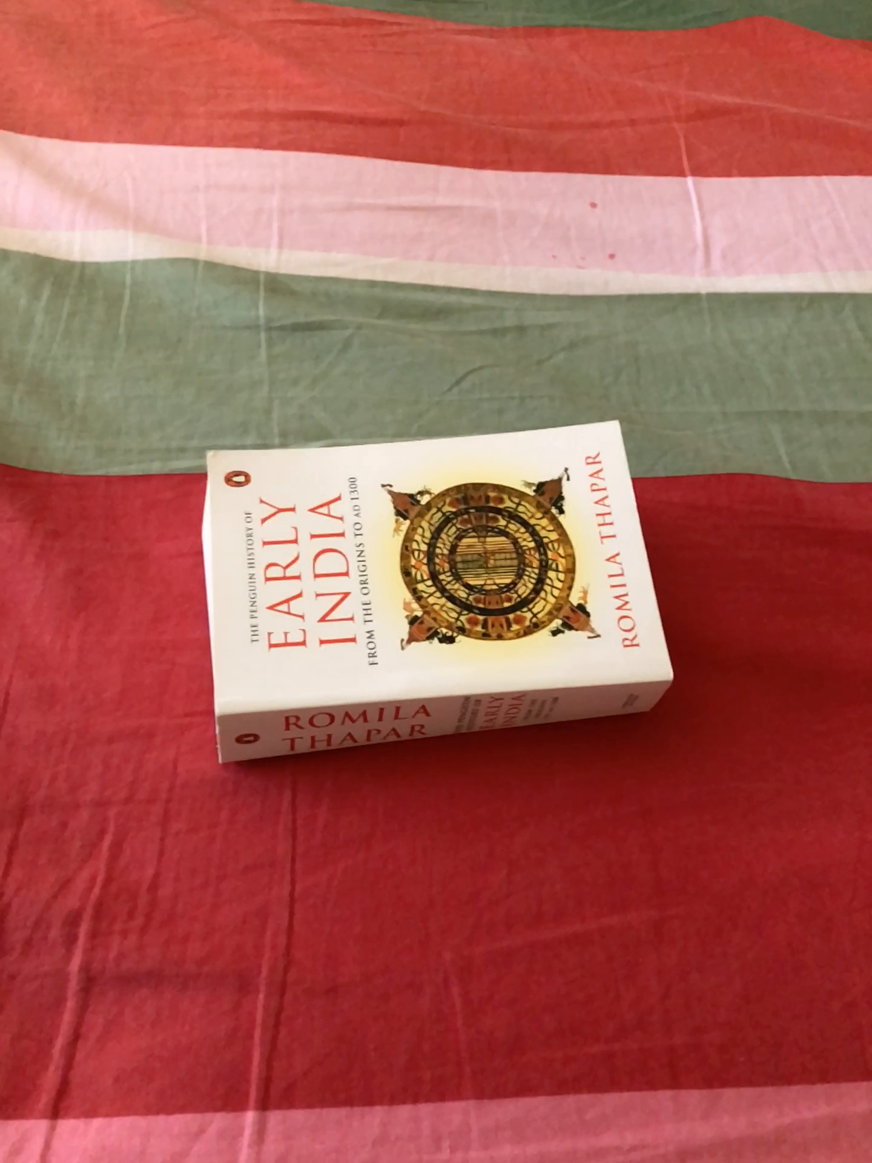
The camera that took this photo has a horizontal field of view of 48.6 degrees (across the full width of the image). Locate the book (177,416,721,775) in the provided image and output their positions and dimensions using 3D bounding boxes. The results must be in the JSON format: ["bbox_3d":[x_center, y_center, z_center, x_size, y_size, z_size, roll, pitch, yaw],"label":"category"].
[{"bbox_3d":[-0.002,0.000,0.416,0.201,0.070,0.120,-5,56,-16],"label":"book"}]
